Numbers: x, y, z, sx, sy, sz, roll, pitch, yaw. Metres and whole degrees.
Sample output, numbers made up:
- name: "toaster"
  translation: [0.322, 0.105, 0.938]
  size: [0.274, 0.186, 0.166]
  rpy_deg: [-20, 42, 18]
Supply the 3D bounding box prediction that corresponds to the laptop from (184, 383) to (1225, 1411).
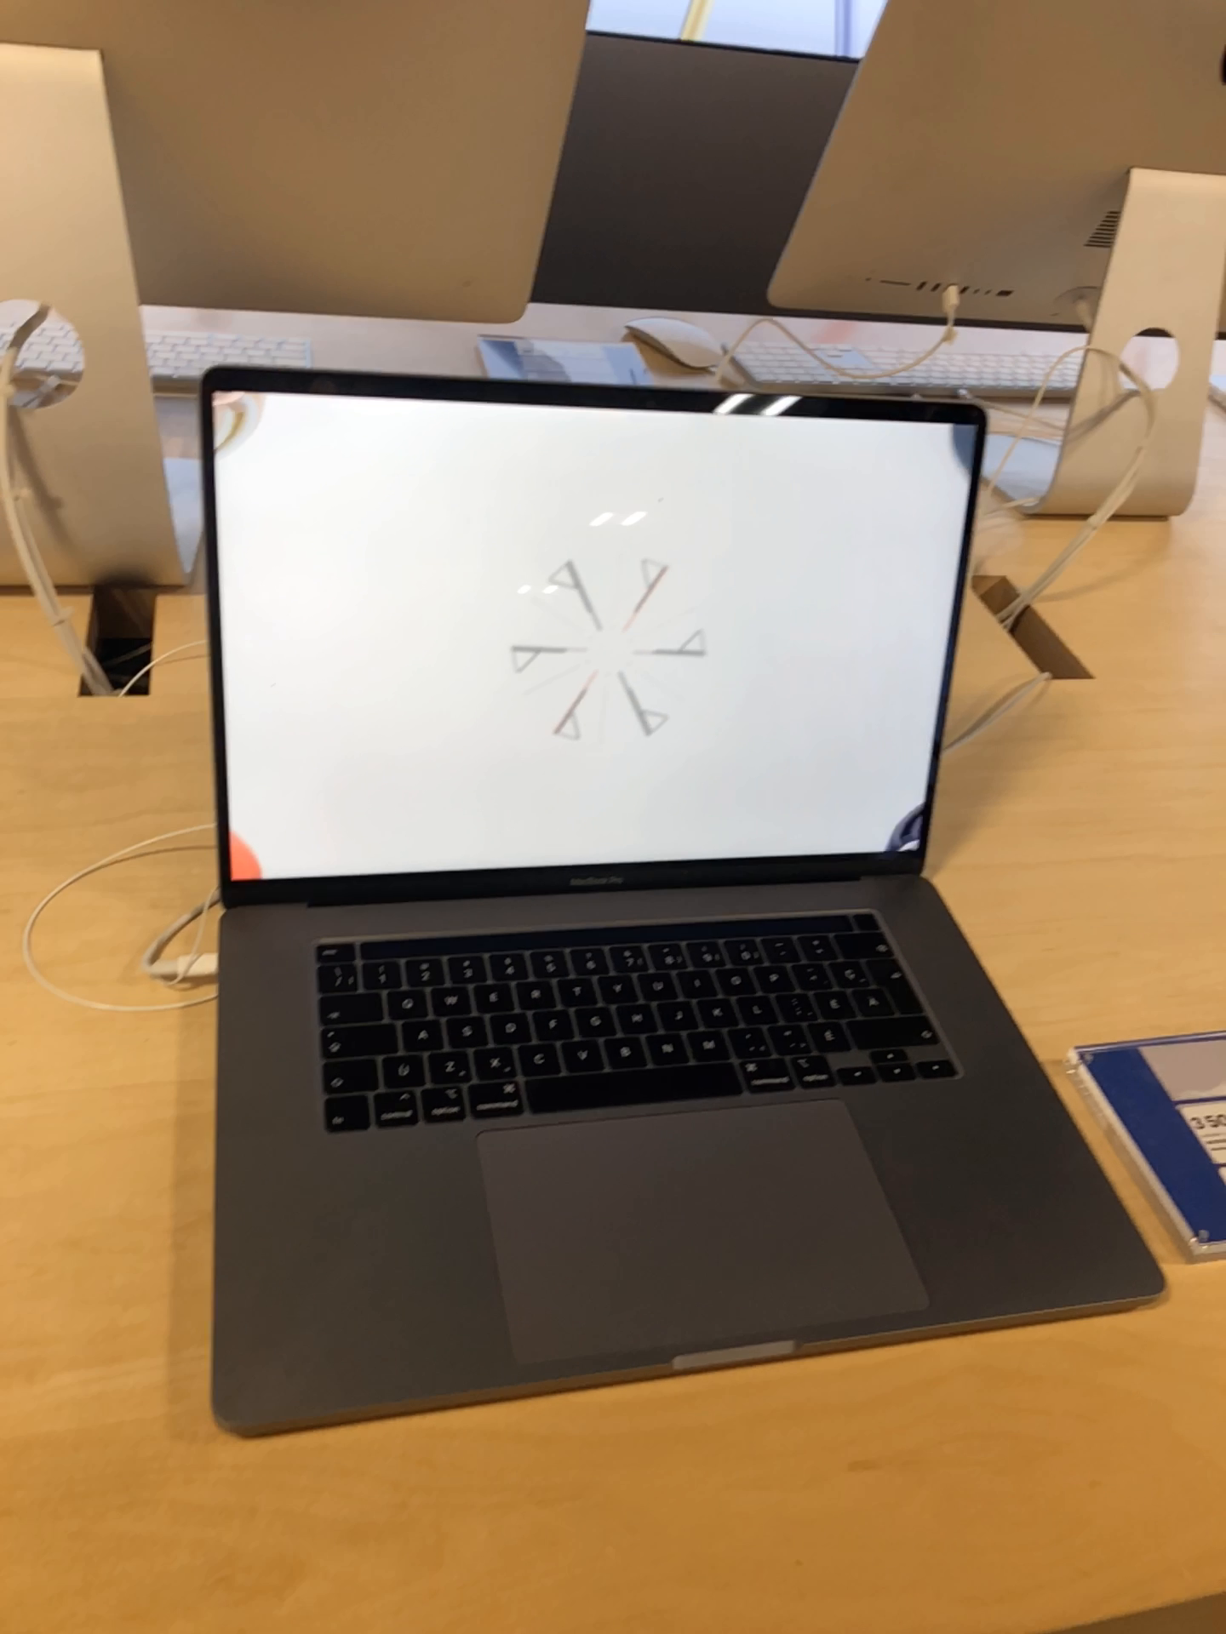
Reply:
- name: "laptop"
  translation: [0.024, 0.006, 0.539]
  size: [0.352, 0.230, 0.316]
  rpy_deg: [-2, 39, -14]
